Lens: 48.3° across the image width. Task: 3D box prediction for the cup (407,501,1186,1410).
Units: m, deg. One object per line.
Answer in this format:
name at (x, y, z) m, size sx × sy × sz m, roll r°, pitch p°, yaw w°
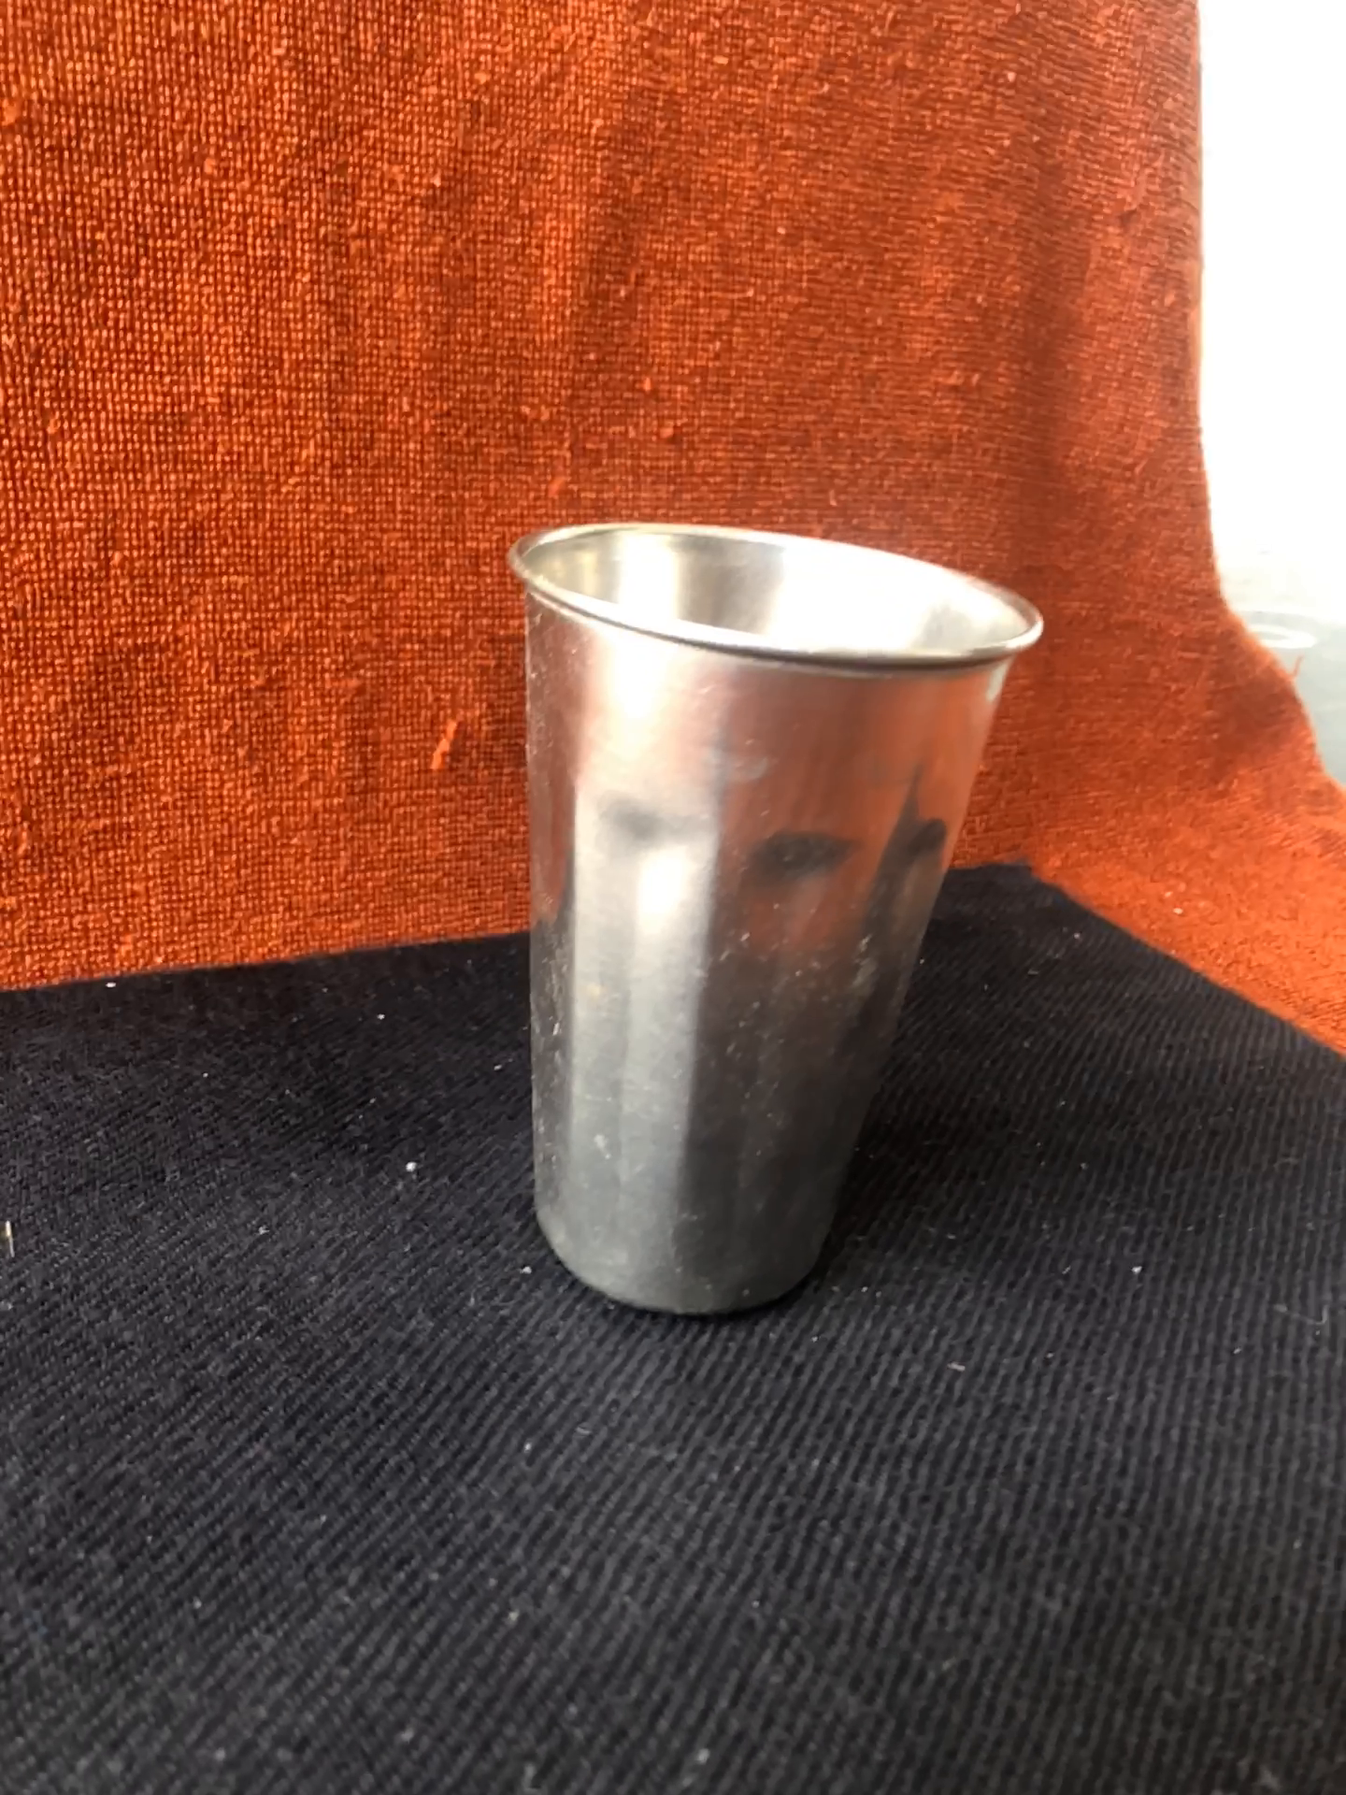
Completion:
cup at (0.011, 0.001, 0.216) m, size 0.070 × 0.100 × 0.070 m, roll 6°, pitch 23°, yaw -3°
